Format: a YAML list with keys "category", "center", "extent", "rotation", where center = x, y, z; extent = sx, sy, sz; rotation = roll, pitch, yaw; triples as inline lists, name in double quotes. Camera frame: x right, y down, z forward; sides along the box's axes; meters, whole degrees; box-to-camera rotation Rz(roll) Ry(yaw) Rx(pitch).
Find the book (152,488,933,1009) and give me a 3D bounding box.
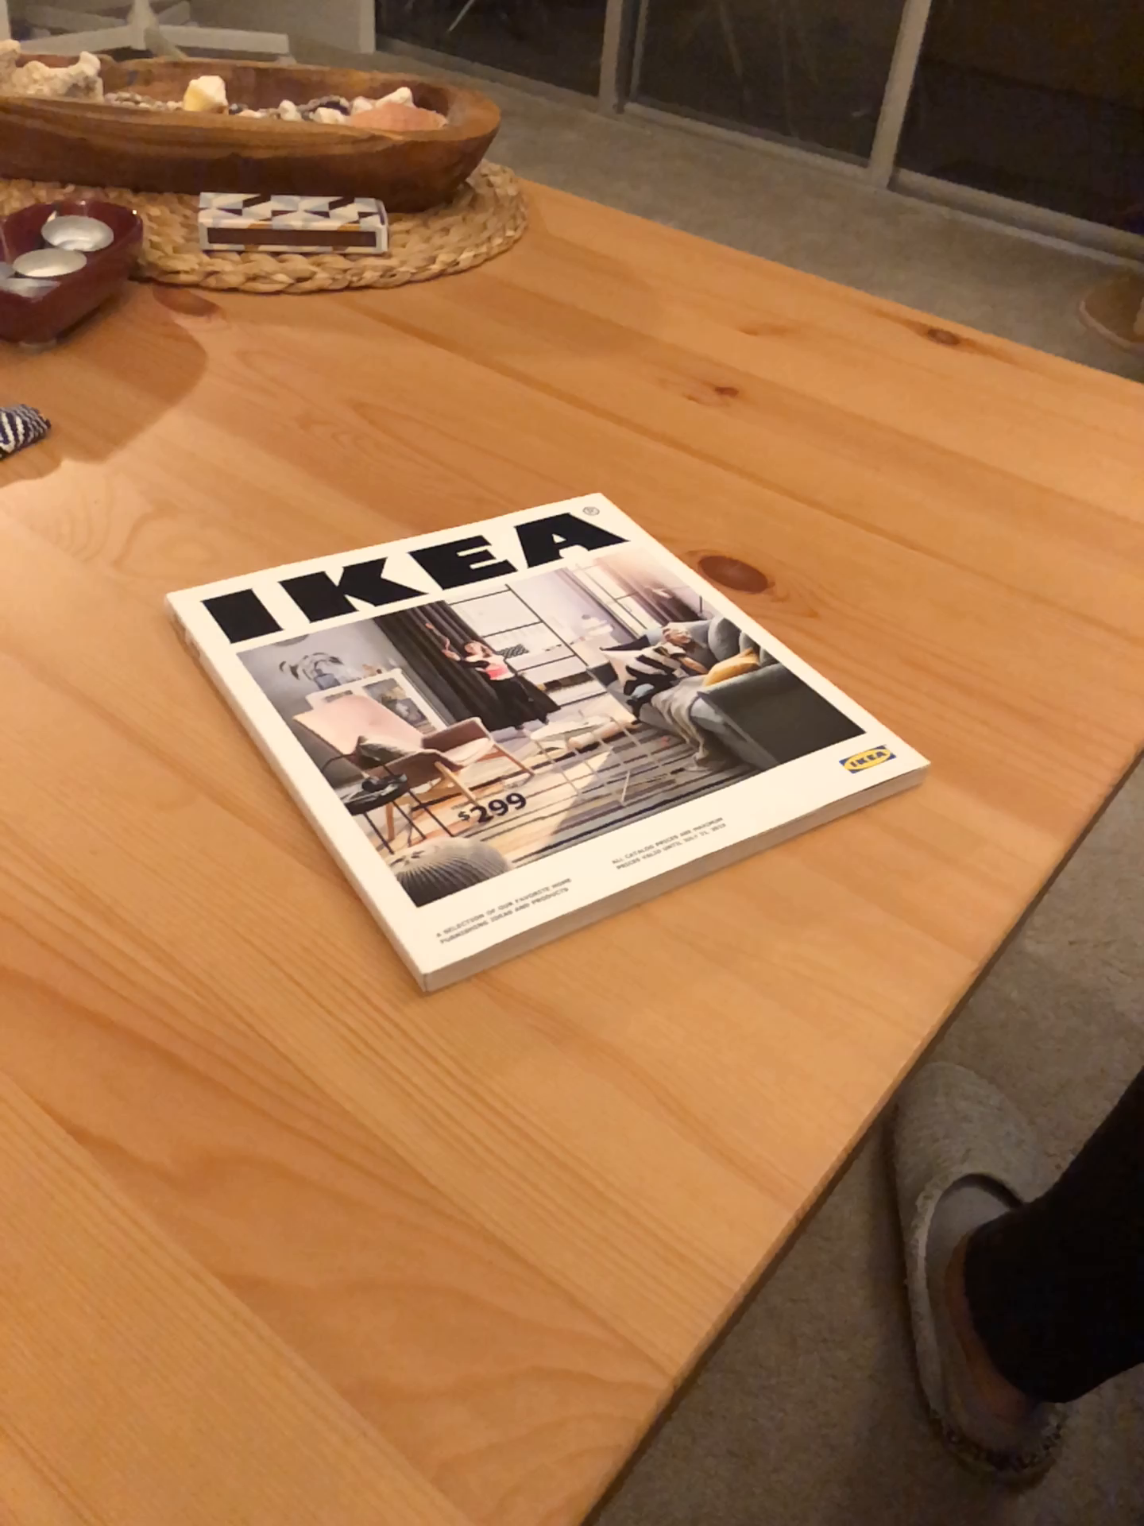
- category: "book"
  center: [-0.016, -0.028, 0.475]
  extent: [0.211, 0.015, 0.216]
  rotation: [-19, 47, -28]
